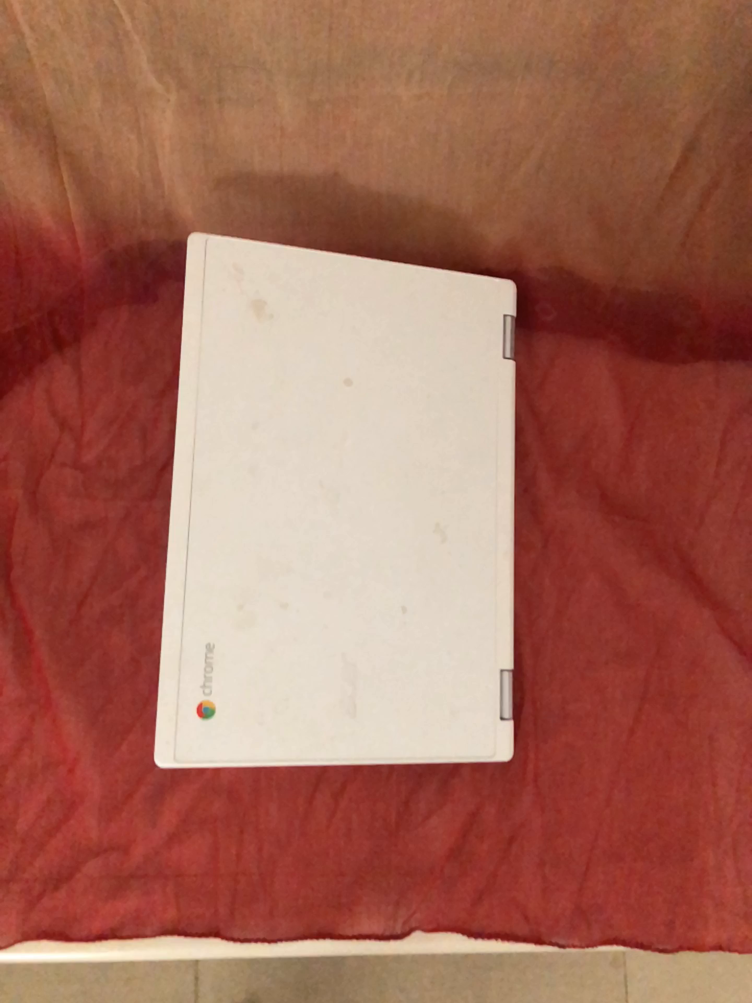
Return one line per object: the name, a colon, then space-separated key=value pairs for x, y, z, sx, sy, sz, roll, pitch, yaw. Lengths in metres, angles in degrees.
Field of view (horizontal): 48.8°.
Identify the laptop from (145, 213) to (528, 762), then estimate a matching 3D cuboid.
laptop: x=-0.016 y=-0.010 z=0.473 sx=0.189 sy=0.056 sz=0.288 roll=3 pitch=81 yaw=-2
